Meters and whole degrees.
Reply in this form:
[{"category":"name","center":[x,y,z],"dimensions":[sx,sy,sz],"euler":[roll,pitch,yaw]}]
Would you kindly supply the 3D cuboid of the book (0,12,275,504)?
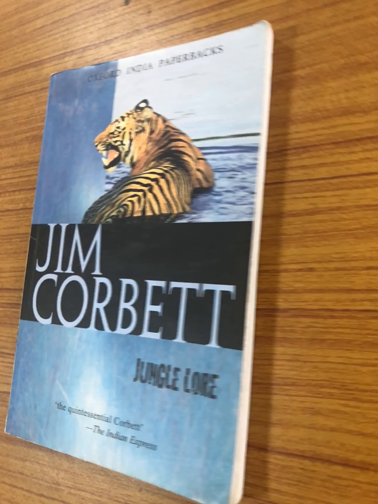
[{"category":"book","center":[-0.035,-0.002,0.226],"dimensions":[0.151,0.010,0.220],"euler":[1,83,29]}]
